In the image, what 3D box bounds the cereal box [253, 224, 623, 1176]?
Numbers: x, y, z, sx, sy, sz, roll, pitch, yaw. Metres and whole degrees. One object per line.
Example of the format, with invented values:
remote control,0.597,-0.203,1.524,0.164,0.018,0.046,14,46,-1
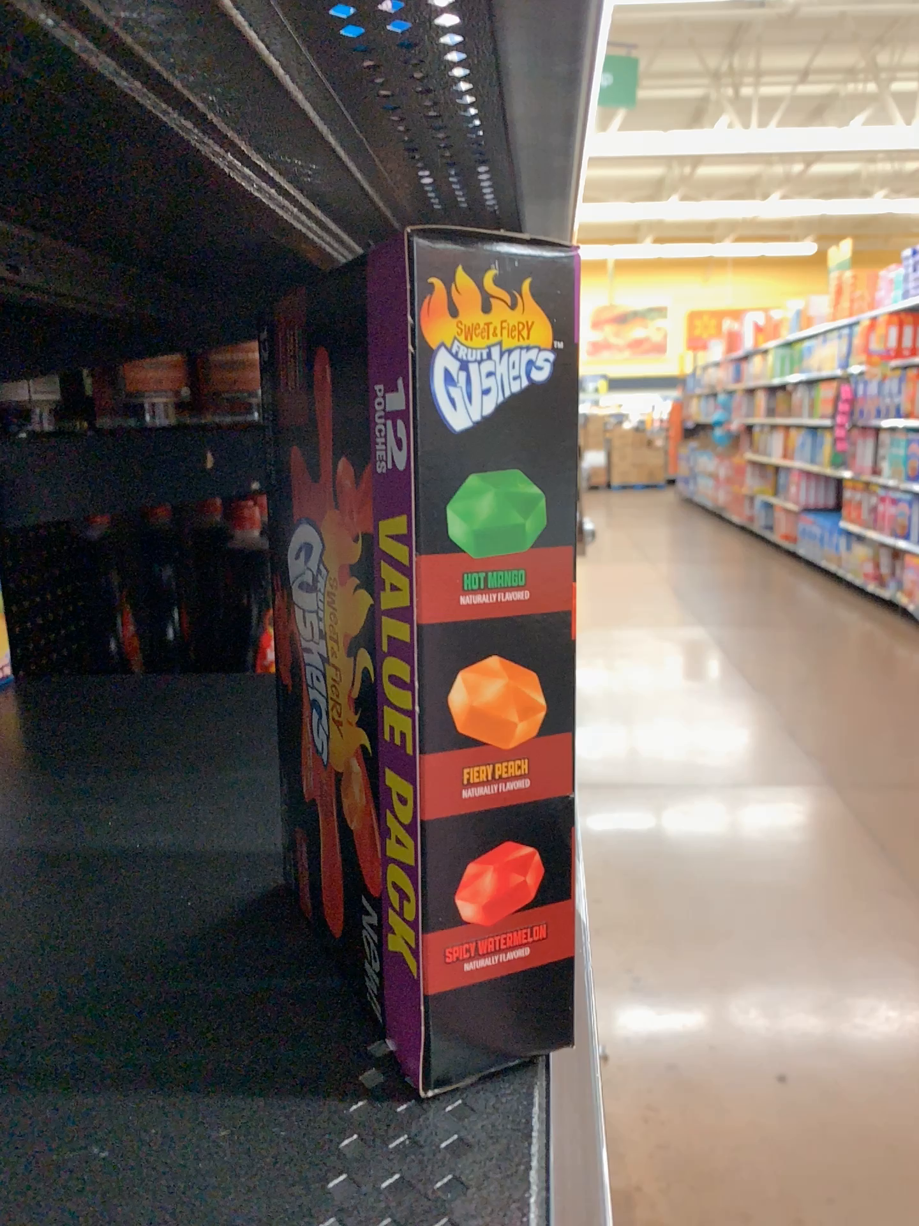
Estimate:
cereal box,-0.018,0.015,0.291,0.050,0.219,0.150,-4,11,-25
